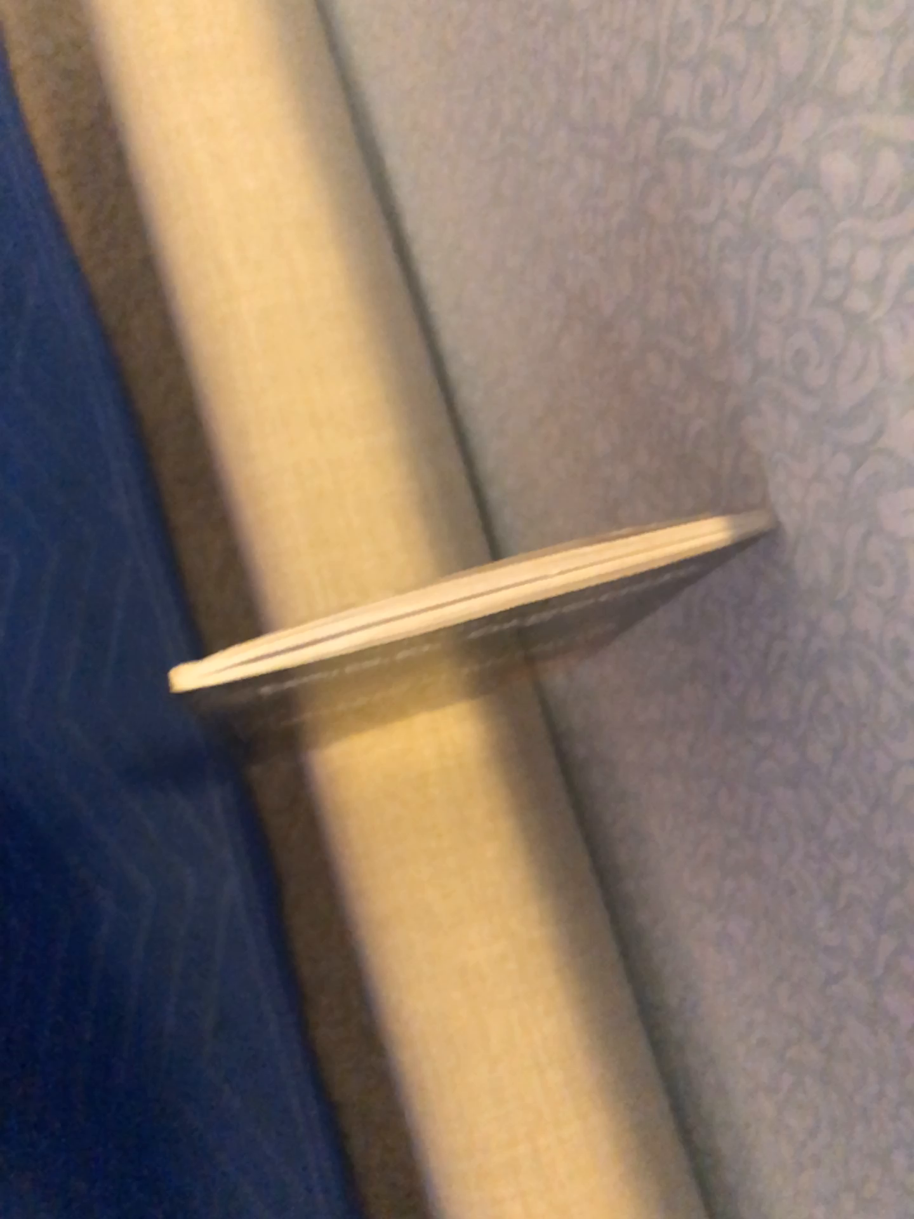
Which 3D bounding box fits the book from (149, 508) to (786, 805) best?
[{"bbox_3d":[-0.007,0.023,0.282,0.127,0.175,0.011,-17,80,-12],"label":"book"}]
